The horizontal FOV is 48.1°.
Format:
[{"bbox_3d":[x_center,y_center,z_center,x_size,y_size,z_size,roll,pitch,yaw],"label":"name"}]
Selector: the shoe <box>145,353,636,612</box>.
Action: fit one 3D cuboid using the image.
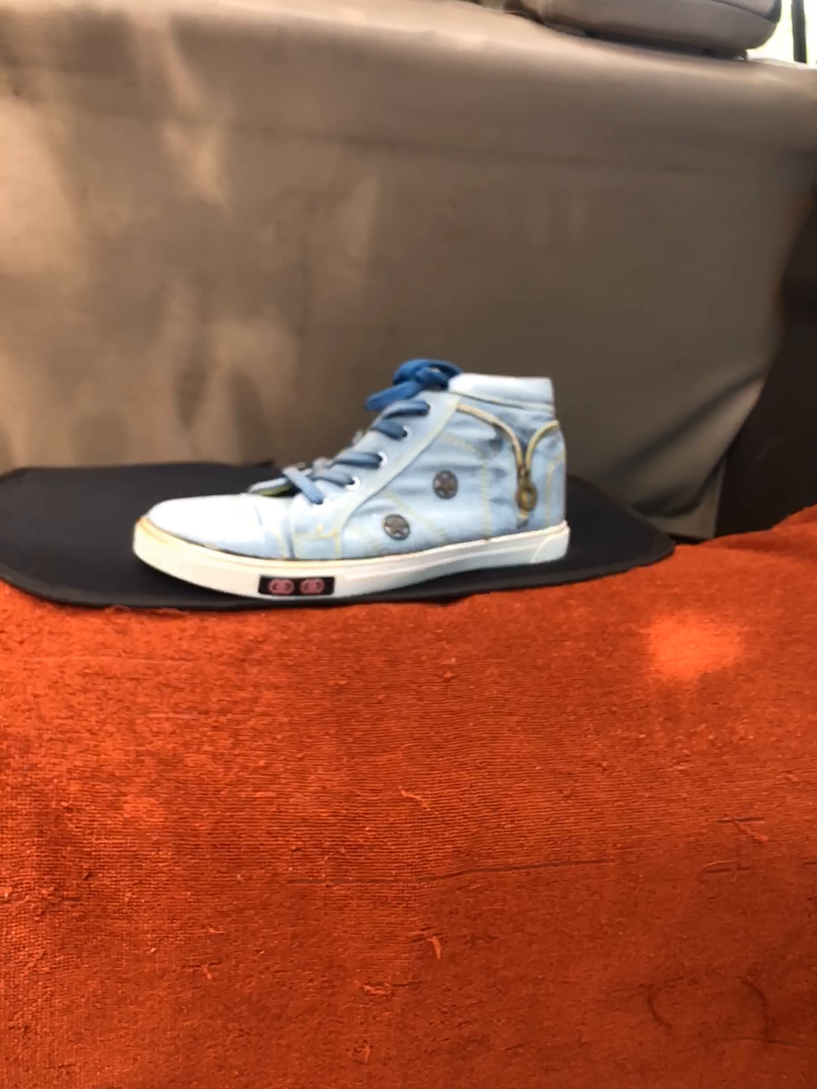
[{"bbox_3d":[-0.010,-0.046,0.539,0.261,0.110,0.110,-5,20,-30],"label":"shoe"}]
